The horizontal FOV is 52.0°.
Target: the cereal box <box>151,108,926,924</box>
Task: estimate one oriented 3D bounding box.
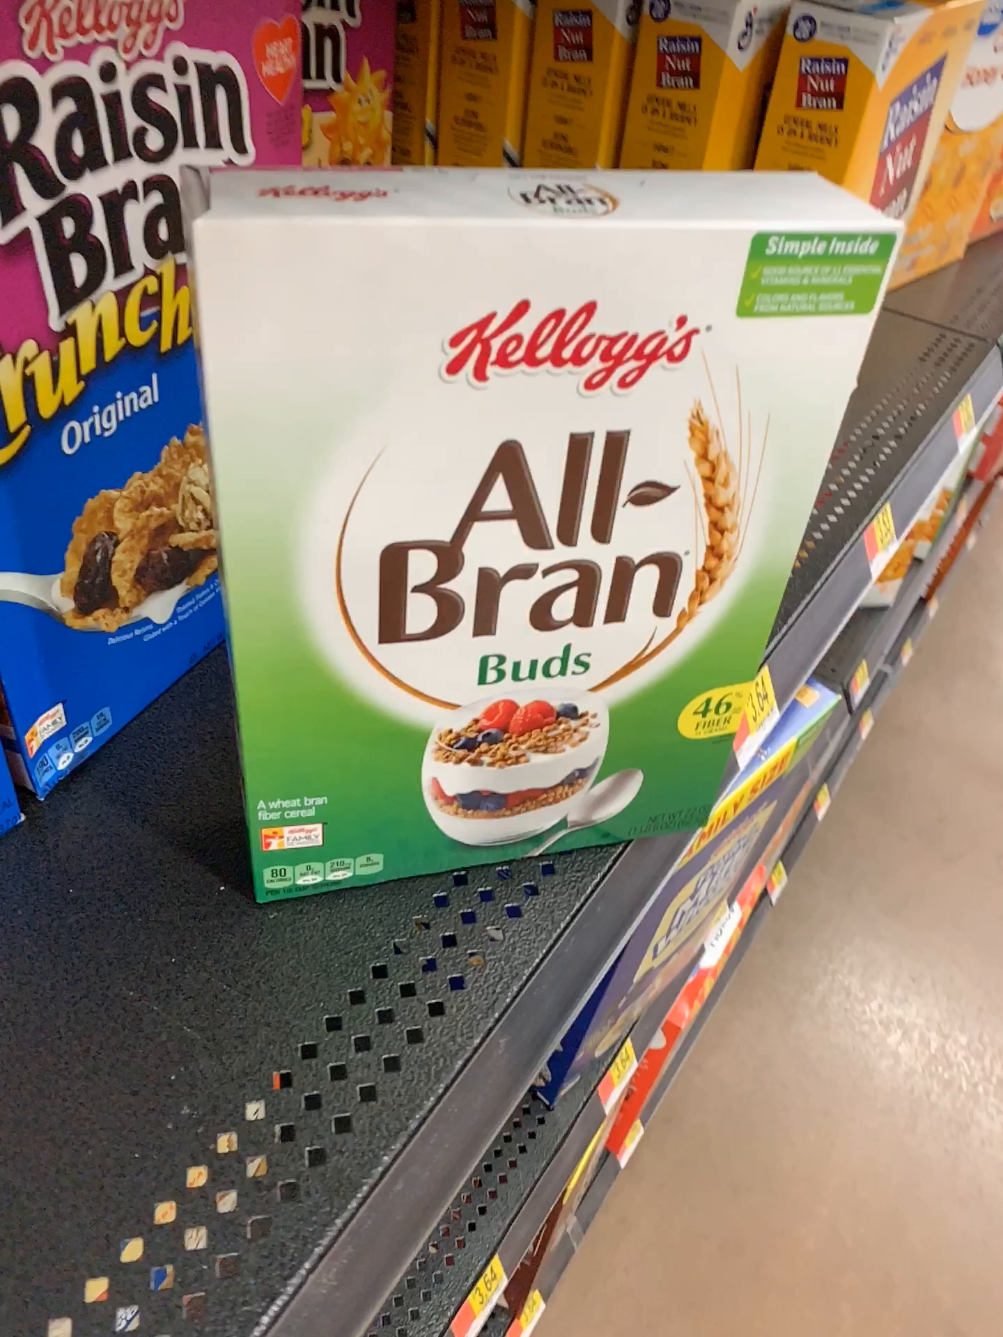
[{"bbox_3d":[0.000,-0.032,0.340,0.190,0.259,0.050,-6,41,-16],"label":"cereal box"}]
